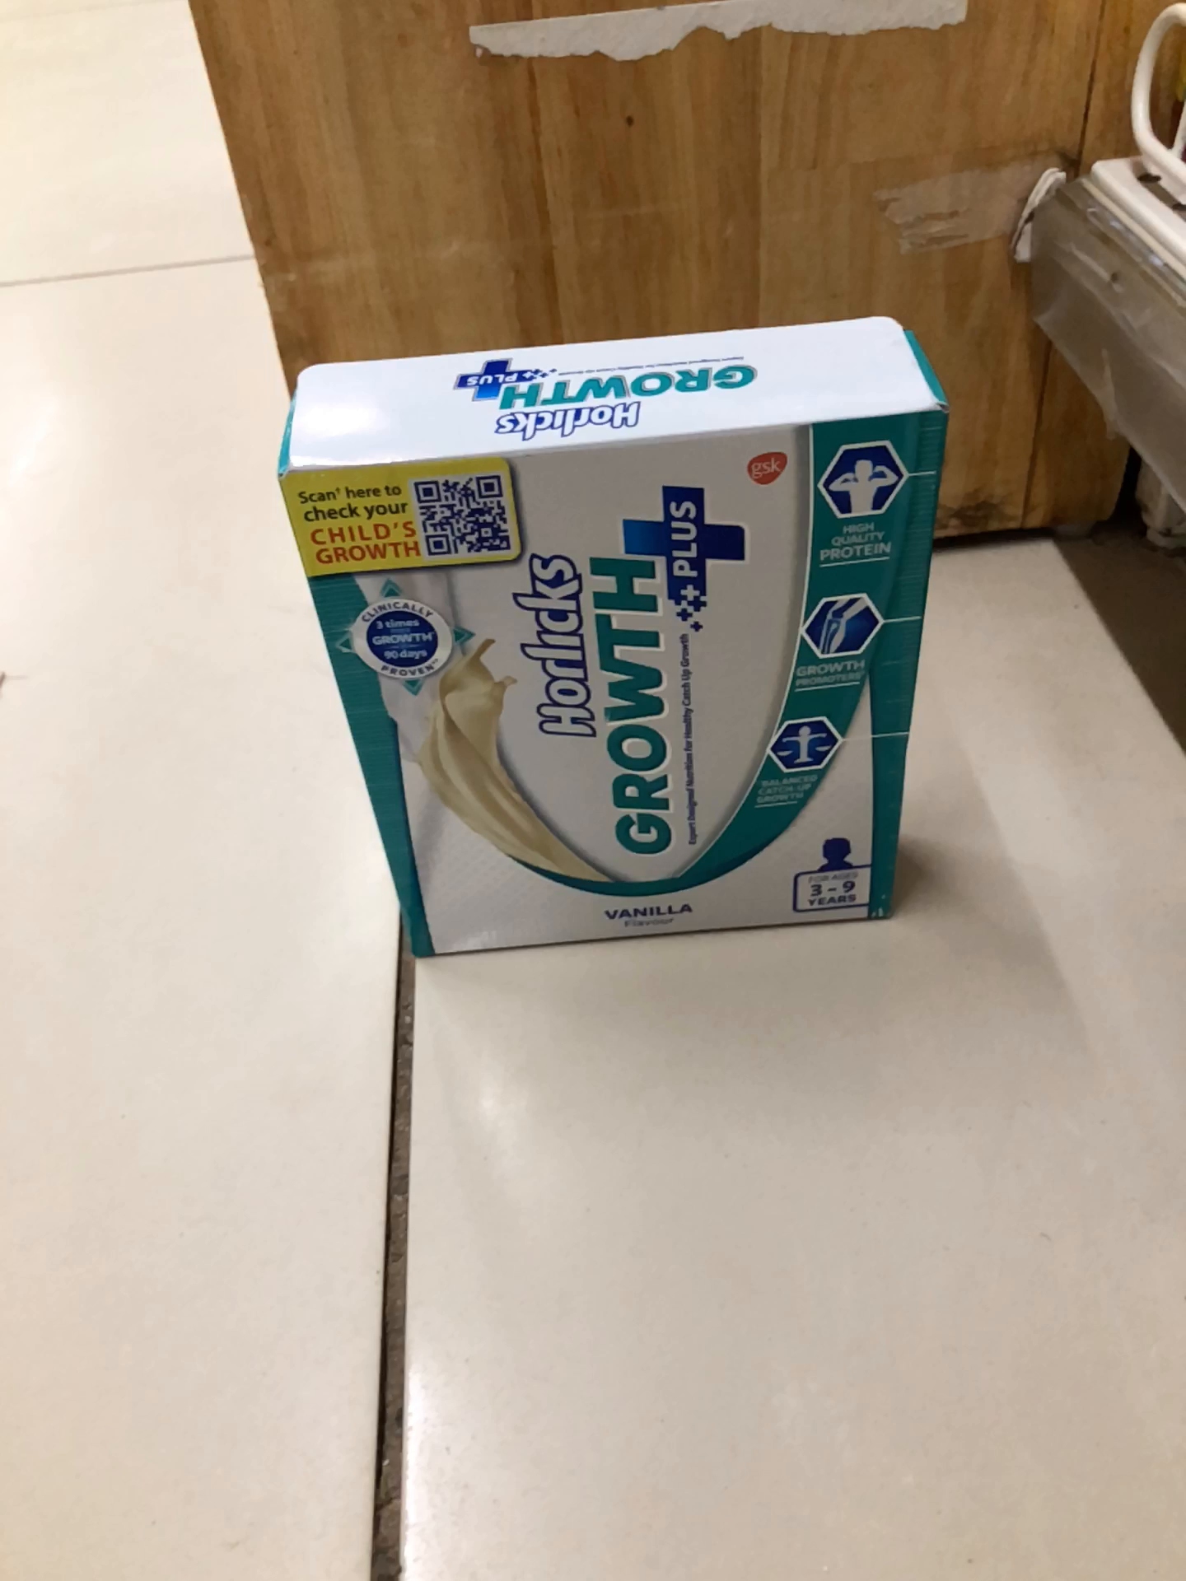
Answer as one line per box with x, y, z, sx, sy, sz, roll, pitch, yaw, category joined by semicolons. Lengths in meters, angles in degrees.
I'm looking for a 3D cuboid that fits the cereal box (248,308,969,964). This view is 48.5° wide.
0.009;-0.031;0.346;0.150;0.159;0.050;-5;43;2;cereal box
